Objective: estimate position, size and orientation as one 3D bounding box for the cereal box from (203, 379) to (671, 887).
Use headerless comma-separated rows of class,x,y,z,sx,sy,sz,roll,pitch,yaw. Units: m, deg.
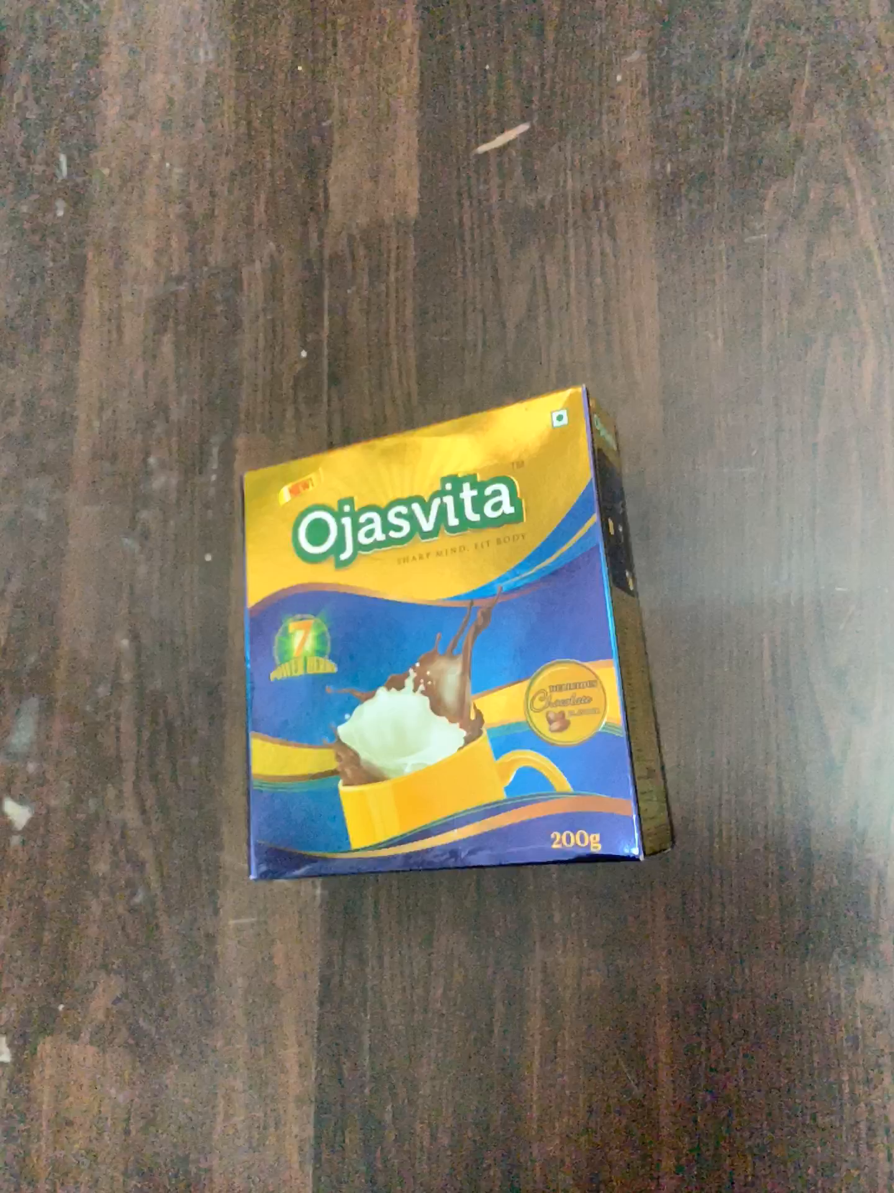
cereal box,-0.010,0.019,0.326,0.151,0.040,0.150,-10,75,22
